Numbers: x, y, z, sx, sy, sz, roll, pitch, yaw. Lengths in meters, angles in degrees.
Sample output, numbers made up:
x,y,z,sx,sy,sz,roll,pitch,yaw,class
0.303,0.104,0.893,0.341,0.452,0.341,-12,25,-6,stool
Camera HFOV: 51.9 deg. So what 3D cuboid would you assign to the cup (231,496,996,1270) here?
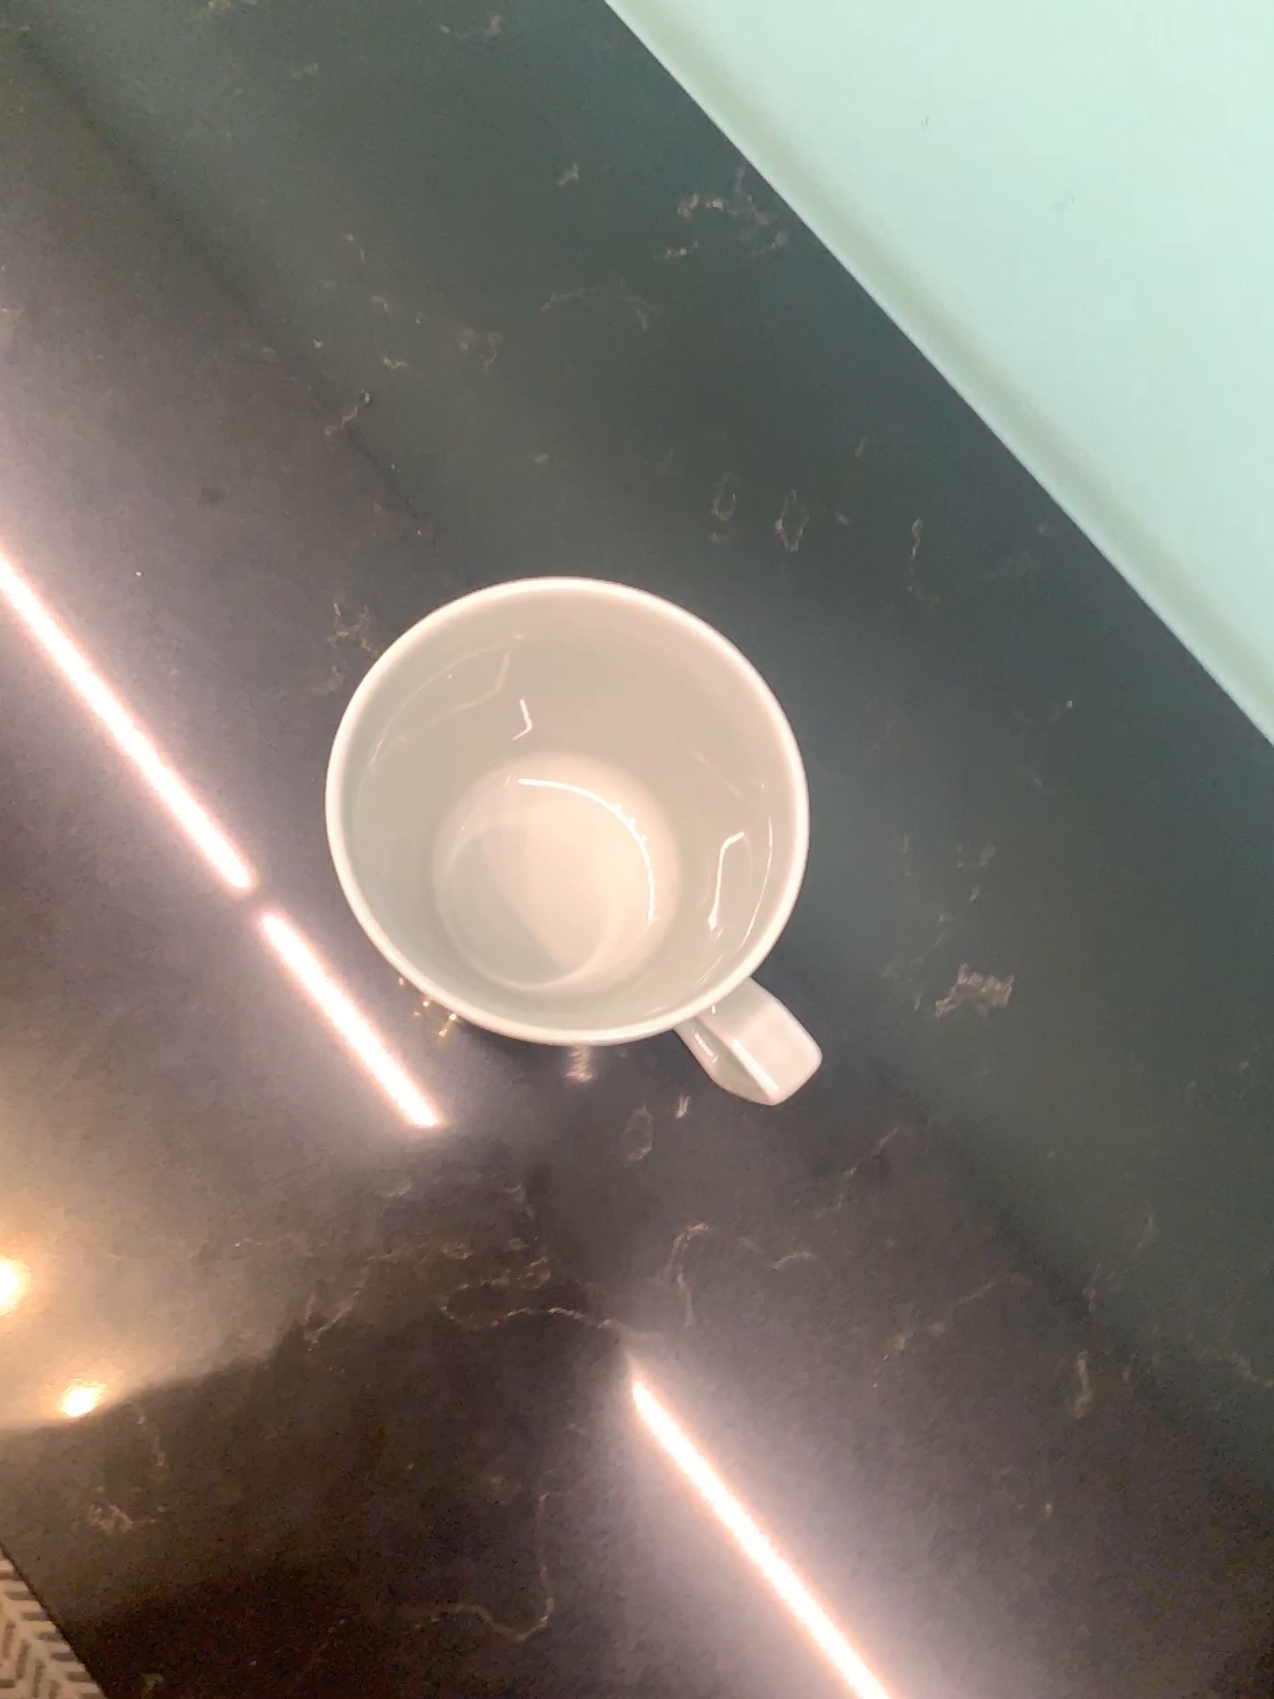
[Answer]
x,y,z,sx,sy,sz,roll,pitch,yaw,class
-0.008,0.011,0.311,0.100,0.080,0.130,-38,83,-13,cup
